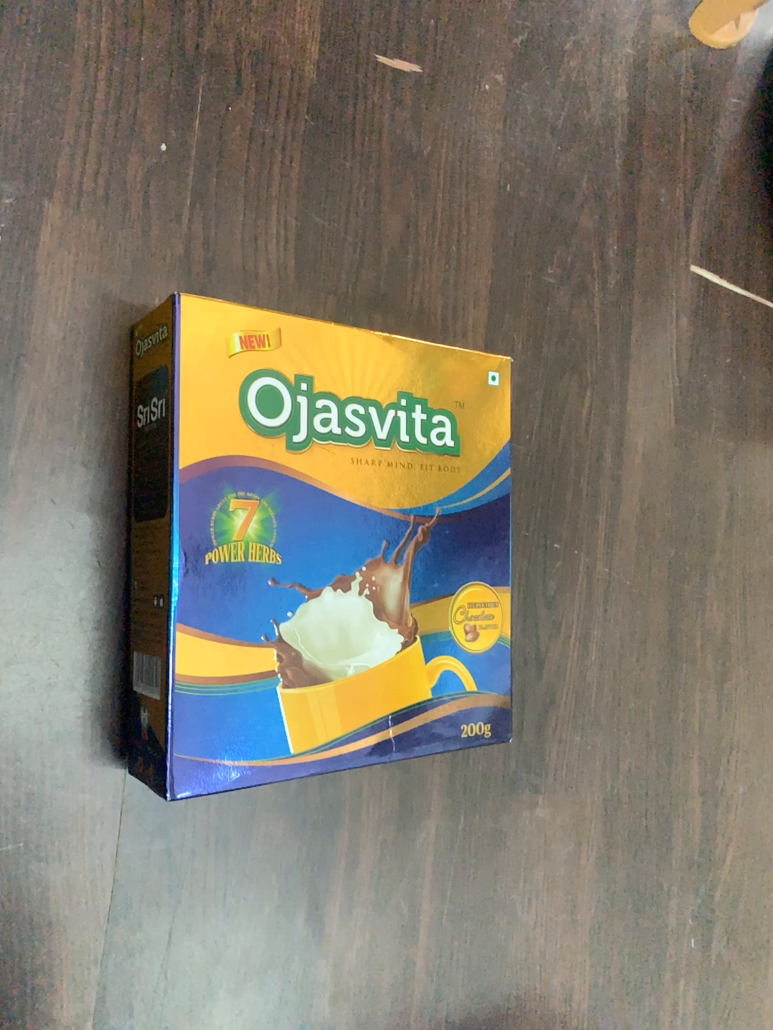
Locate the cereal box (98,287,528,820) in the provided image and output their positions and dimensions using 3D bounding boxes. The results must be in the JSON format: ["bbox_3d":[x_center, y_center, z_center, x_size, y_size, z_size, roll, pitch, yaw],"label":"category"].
[{"bbox_3d":[-0.020,0.012,0.284,0.151,0.040,0.150,2,85,-36],"label":"cereal box"}]
